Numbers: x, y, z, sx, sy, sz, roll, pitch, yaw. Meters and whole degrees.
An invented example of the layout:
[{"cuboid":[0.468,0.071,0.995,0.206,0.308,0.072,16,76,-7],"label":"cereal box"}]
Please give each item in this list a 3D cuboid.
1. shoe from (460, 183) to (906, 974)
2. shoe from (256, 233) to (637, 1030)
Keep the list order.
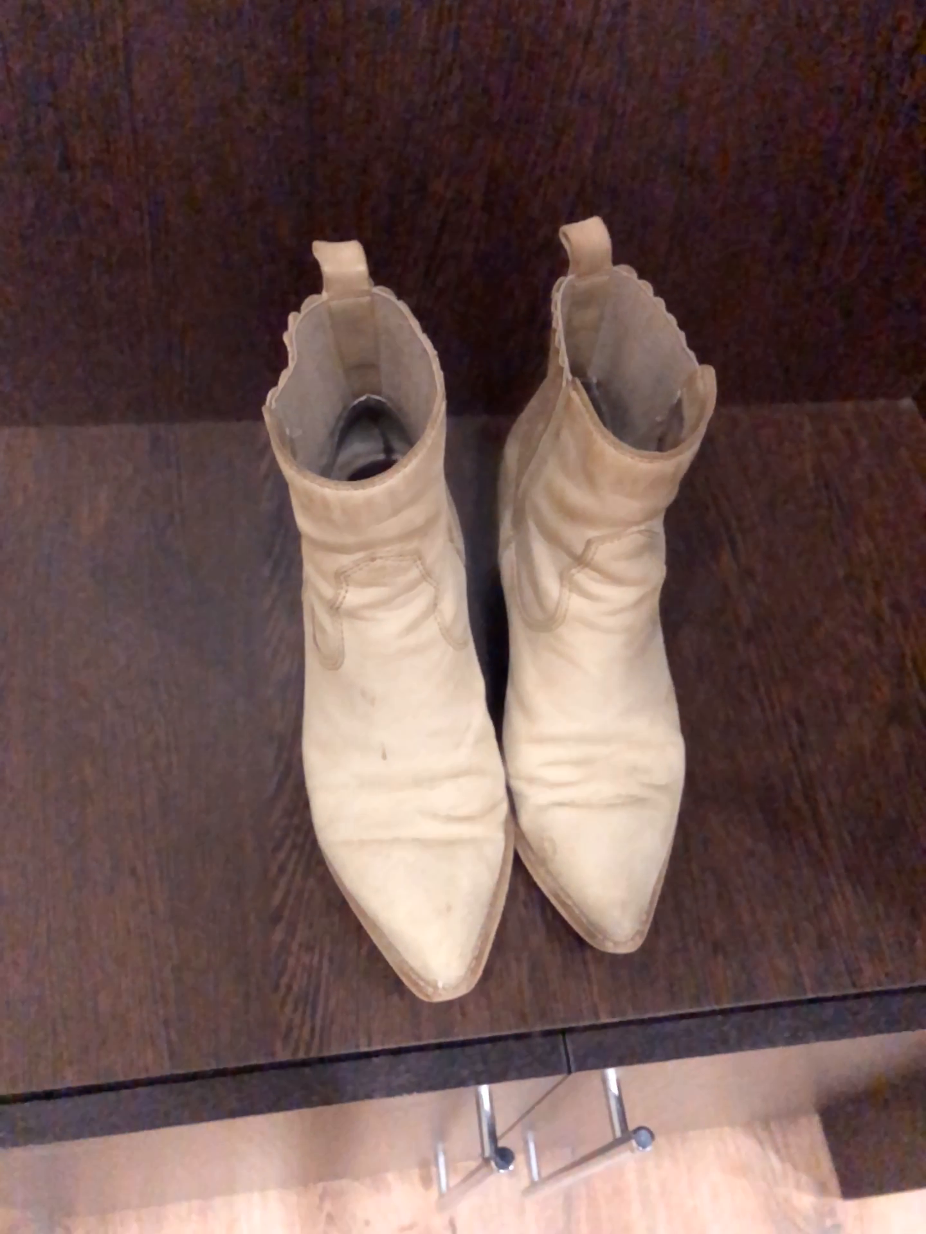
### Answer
[{"cuboid":[0.061,-0.017,0.430,0.100,0.170,0.281,1,57,-5],"label":"shoe"},{"cuboid":[-0.023,0.003,0.421,0.100,0.170,0.271,-4,58,-6],"label":"shoe"}]
